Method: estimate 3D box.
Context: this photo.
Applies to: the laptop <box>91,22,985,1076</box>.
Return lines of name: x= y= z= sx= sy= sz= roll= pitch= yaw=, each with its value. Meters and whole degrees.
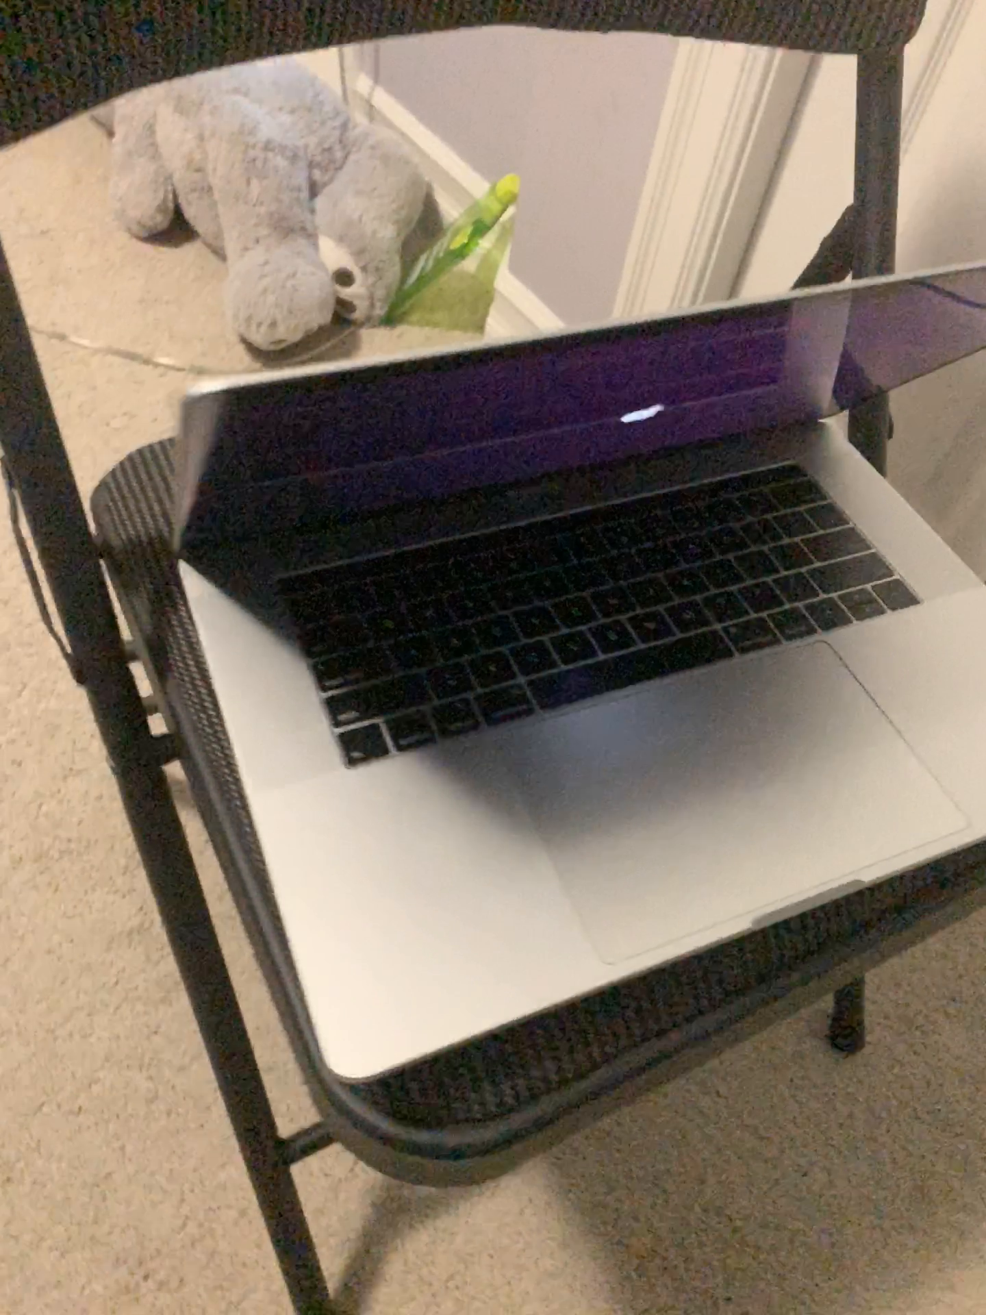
laptop: x=0.075 y=-0.058 z=0.343 sx=0.334 sy=0.189 sz=0.231 roll=-15 pitch=55 yaw=-18
